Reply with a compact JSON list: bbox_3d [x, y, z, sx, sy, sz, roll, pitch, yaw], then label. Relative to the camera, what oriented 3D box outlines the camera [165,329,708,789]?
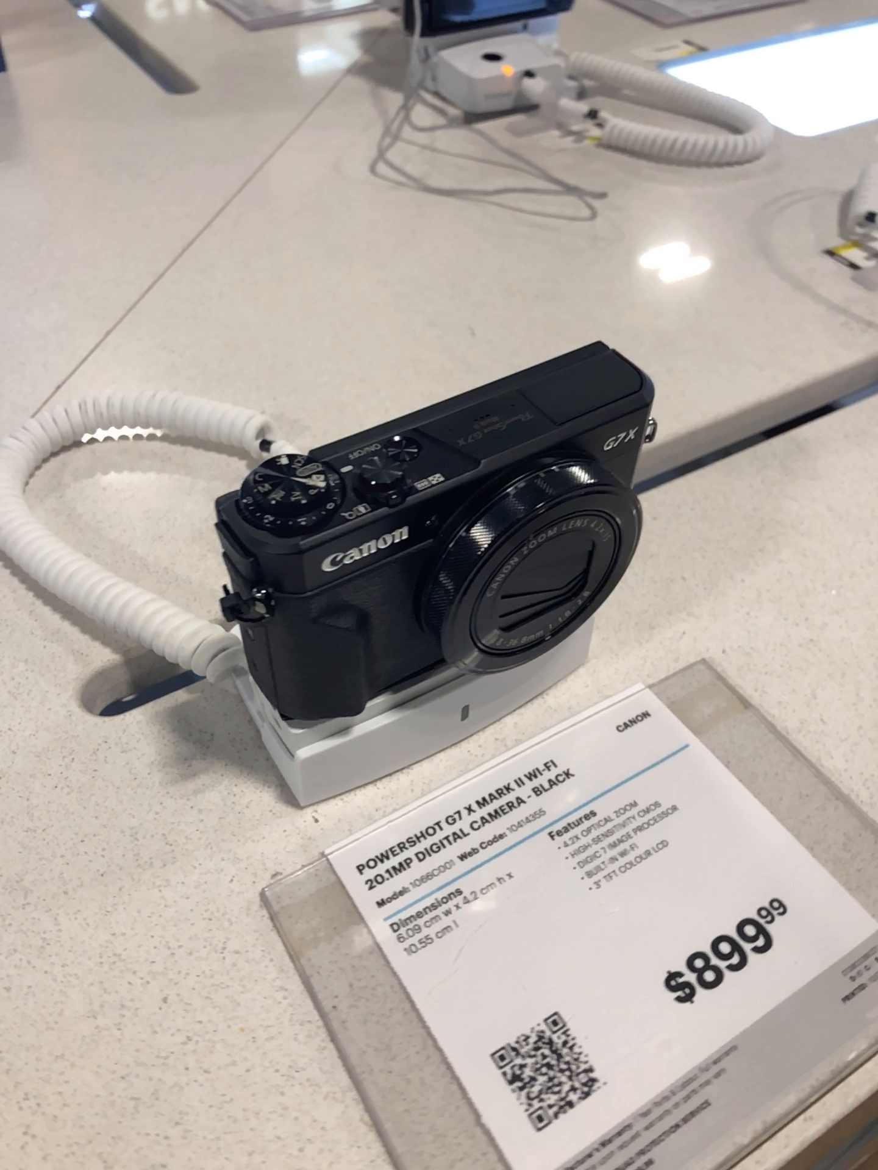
[{"bbox_3d":[0.002,-0.009,0.226,0.110,0.060,0.040,-24,50,-22],"label":"camera"}]
